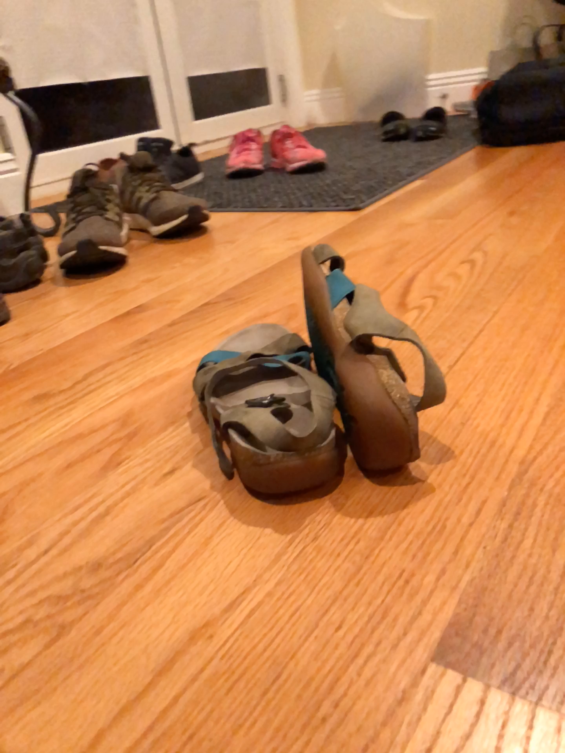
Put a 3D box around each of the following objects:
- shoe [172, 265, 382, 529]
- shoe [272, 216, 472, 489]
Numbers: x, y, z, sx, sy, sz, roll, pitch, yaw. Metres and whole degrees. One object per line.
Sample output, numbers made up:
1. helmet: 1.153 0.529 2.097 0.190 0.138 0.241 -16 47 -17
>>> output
1. shoe: -0.019 -0.006 0.447 0.104 0.075 0.241 -11 25 -6
2. shoe: 0.050 -0.037 0.441 0.065 0.104 0.239 -11 25 -6
